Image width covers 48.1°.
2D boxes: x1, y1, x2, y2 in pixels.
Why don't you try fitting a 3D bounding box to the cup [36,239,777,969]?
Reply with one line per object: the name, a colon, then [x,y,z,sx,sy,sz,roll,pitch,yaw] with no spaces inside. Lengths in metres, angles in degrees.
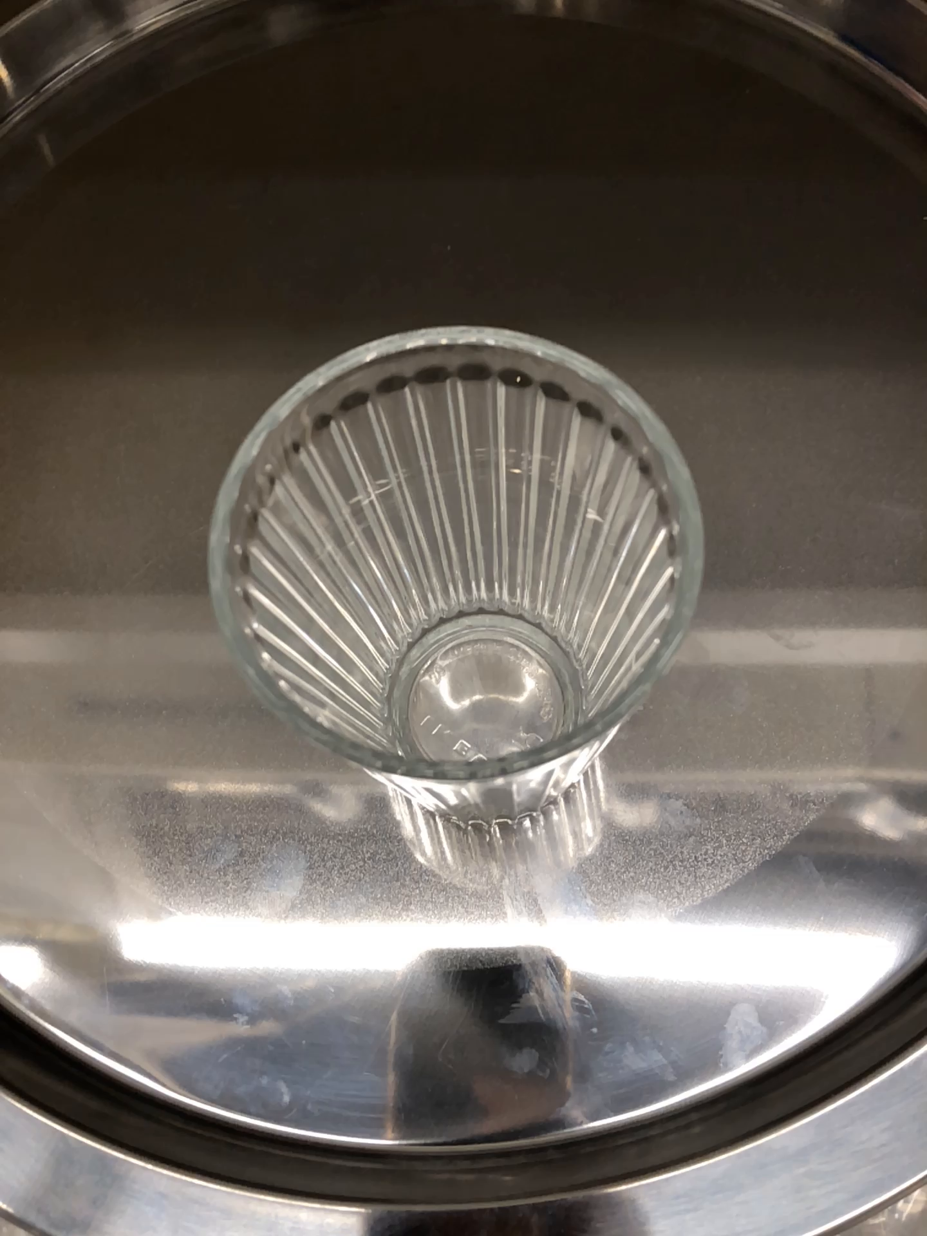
cup: [-0.006,0.009,0.174,0.070,0.100,0.070,-2,70,5]
